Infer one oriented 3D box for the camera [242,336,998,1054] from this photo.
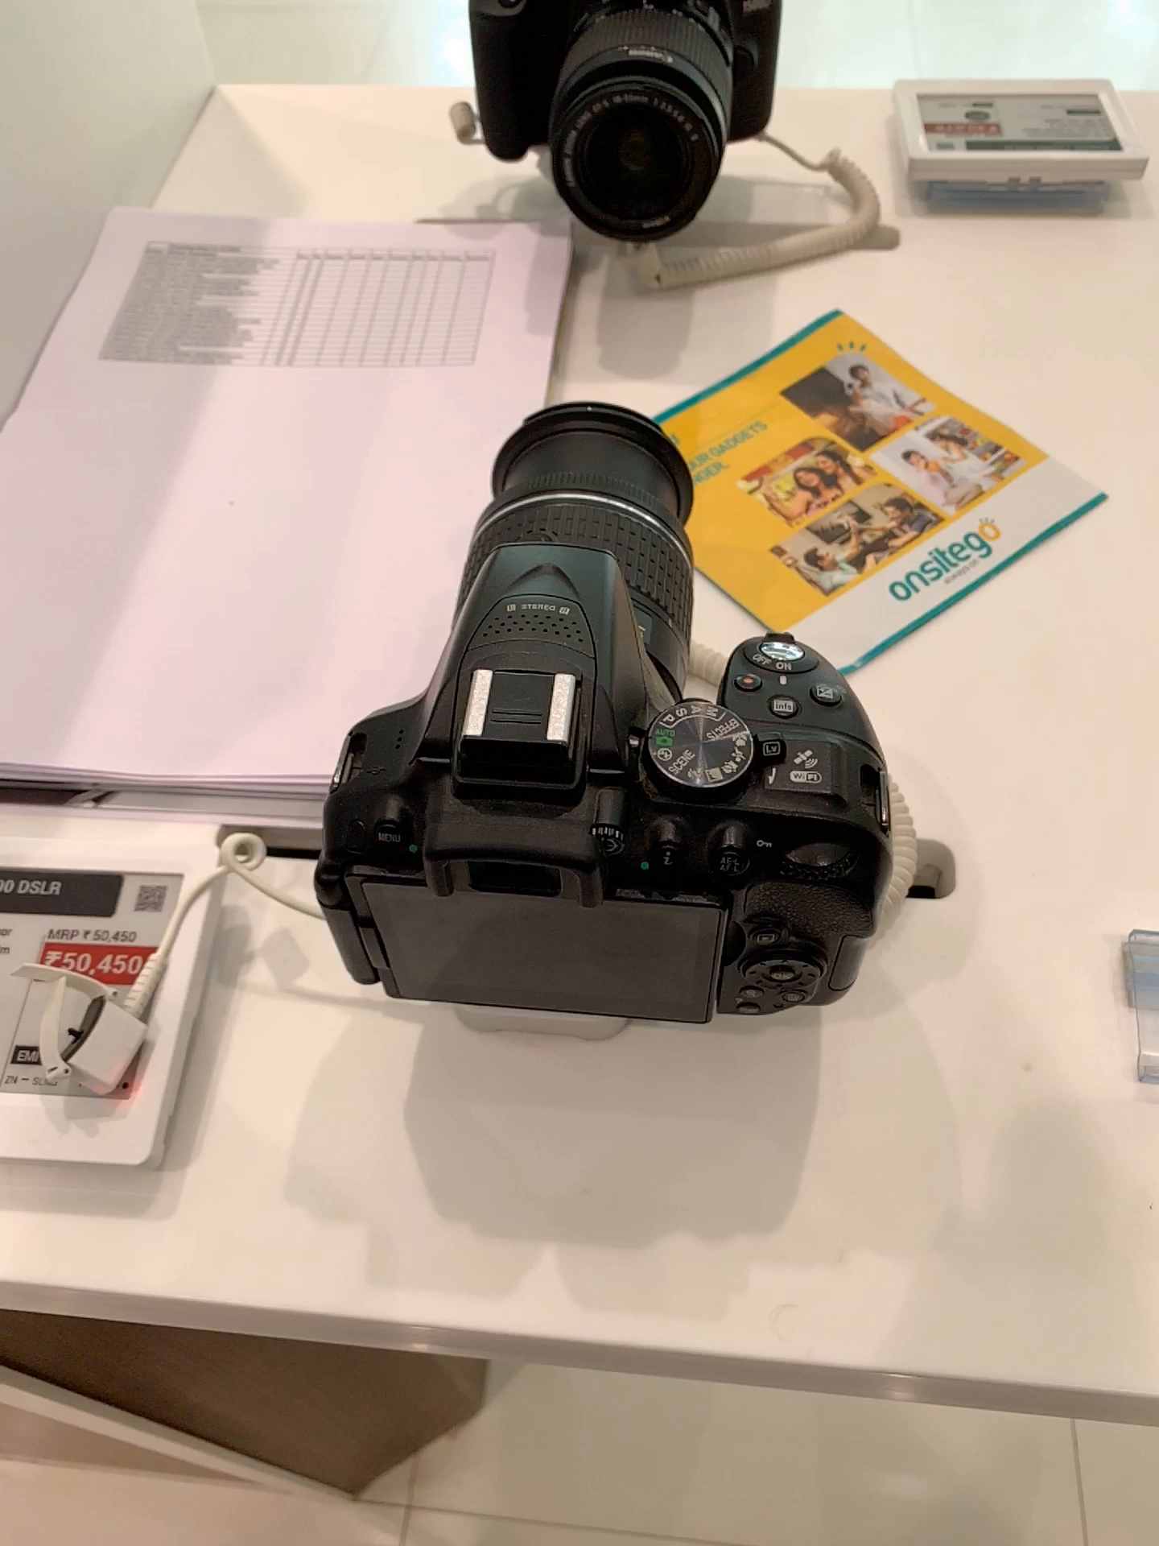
[{"bbox_3d":[0.013,-0.016,0.257,0.118,0.100,0.107,4,55,6],"label":"camera"}]
